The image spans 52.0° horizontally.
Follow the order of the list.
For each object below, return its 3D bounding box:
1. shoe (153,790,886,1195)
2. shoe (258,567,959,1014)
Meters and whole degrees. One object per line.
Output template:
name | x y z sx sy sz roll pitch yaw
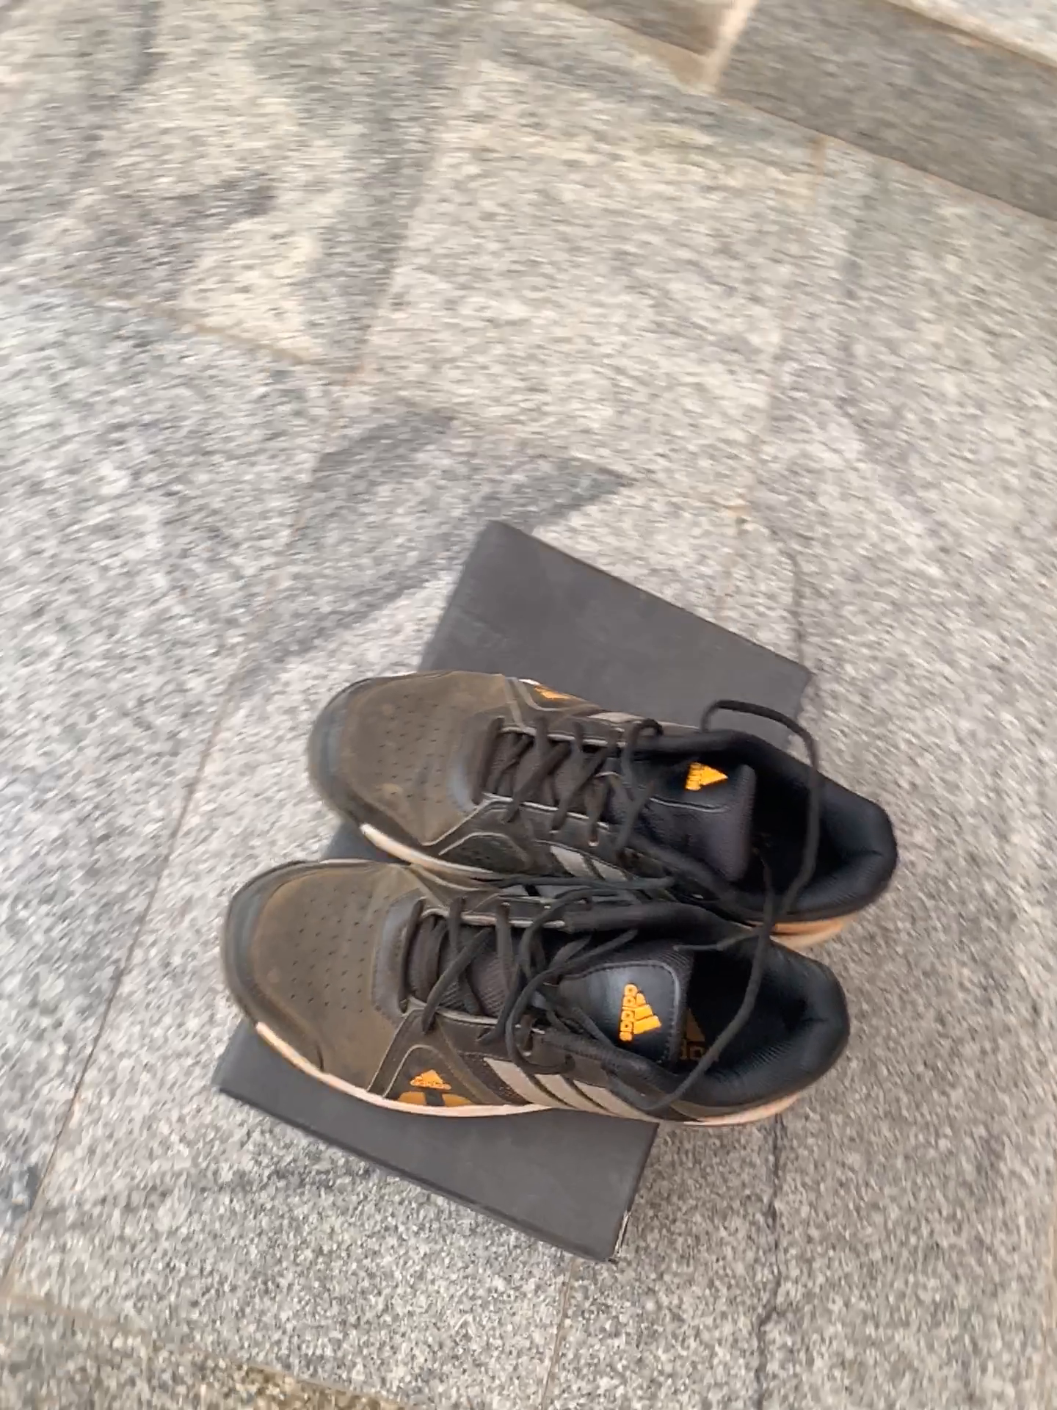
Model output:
shoe | 0.001 0.138 0.496 0.300 0.090 0.110 13 64 -6
shoe | 0.036 0.047 0.506 0.290 0.090 0.110 18 72 -5
